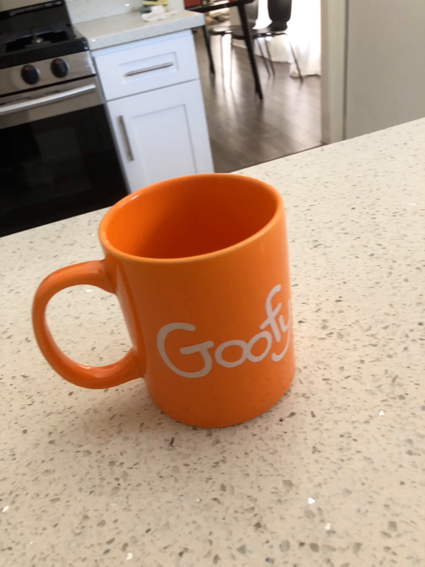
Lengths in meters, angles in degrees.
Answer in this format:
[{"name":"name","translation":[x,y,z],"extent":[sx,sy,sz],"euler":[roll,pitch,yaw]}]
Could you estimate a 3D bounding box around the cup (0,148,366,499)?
[{"name":"cup","translation":[-0.012,0.012,0.223],"extent":[0.130,0.101,0.090],"euler":[-15,34,-7]}]
